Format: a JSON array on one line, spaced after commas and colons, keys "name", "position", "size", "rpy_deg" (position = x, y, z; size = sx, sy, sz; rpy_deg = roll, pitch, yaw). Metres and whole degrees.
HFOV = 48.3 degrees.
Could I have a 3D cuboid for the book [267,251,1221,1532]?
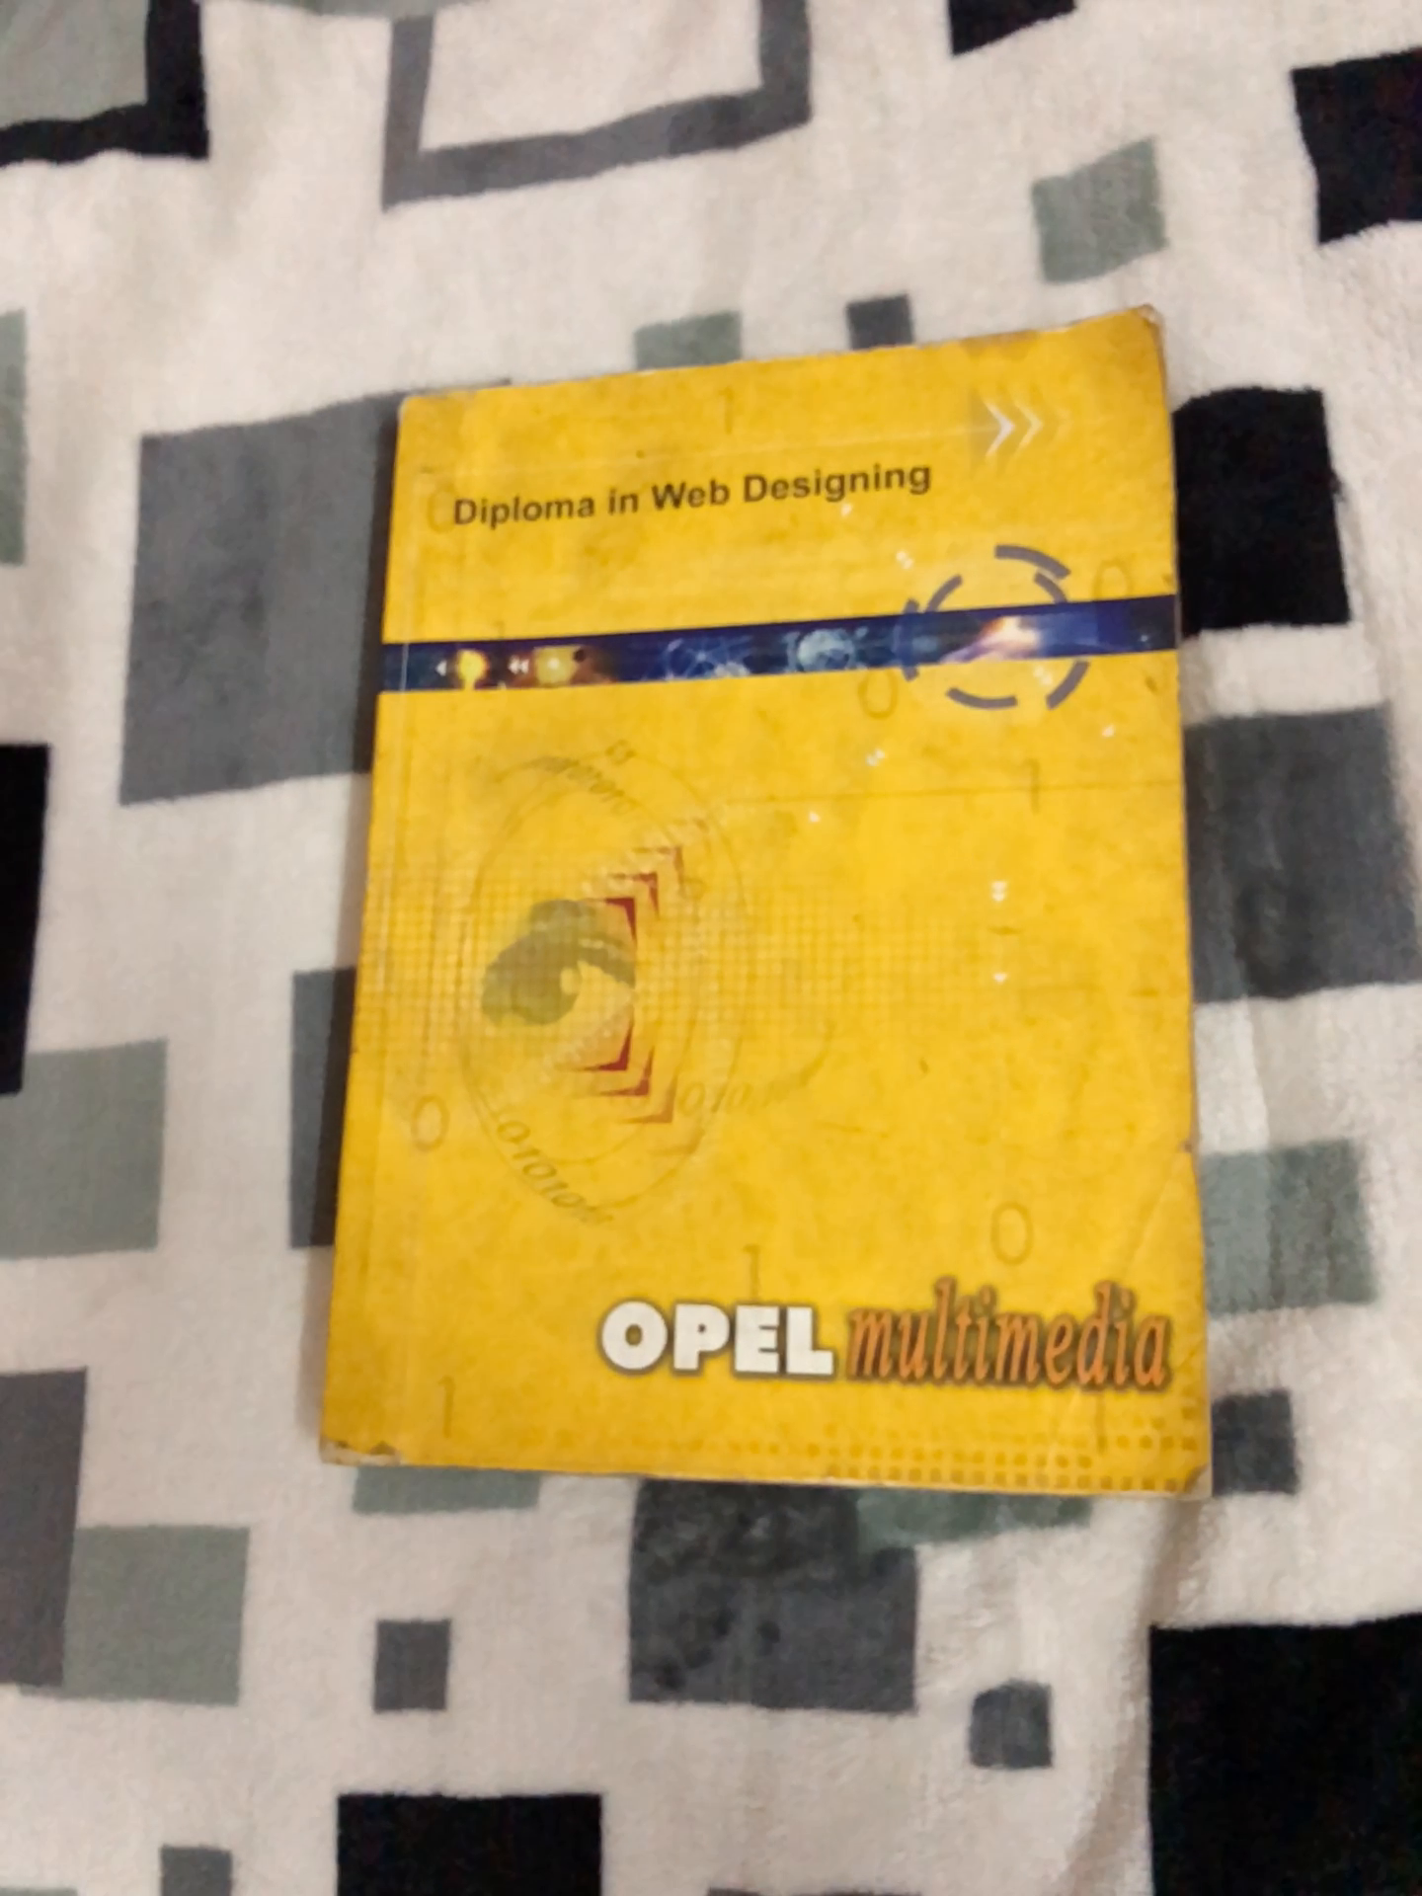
[{"name": "book", "position": [0.013, -0.017, 0.428], "size": [0.220, 0.070, 0.310], "rpy_deg": [-1, 76, 13]}]
